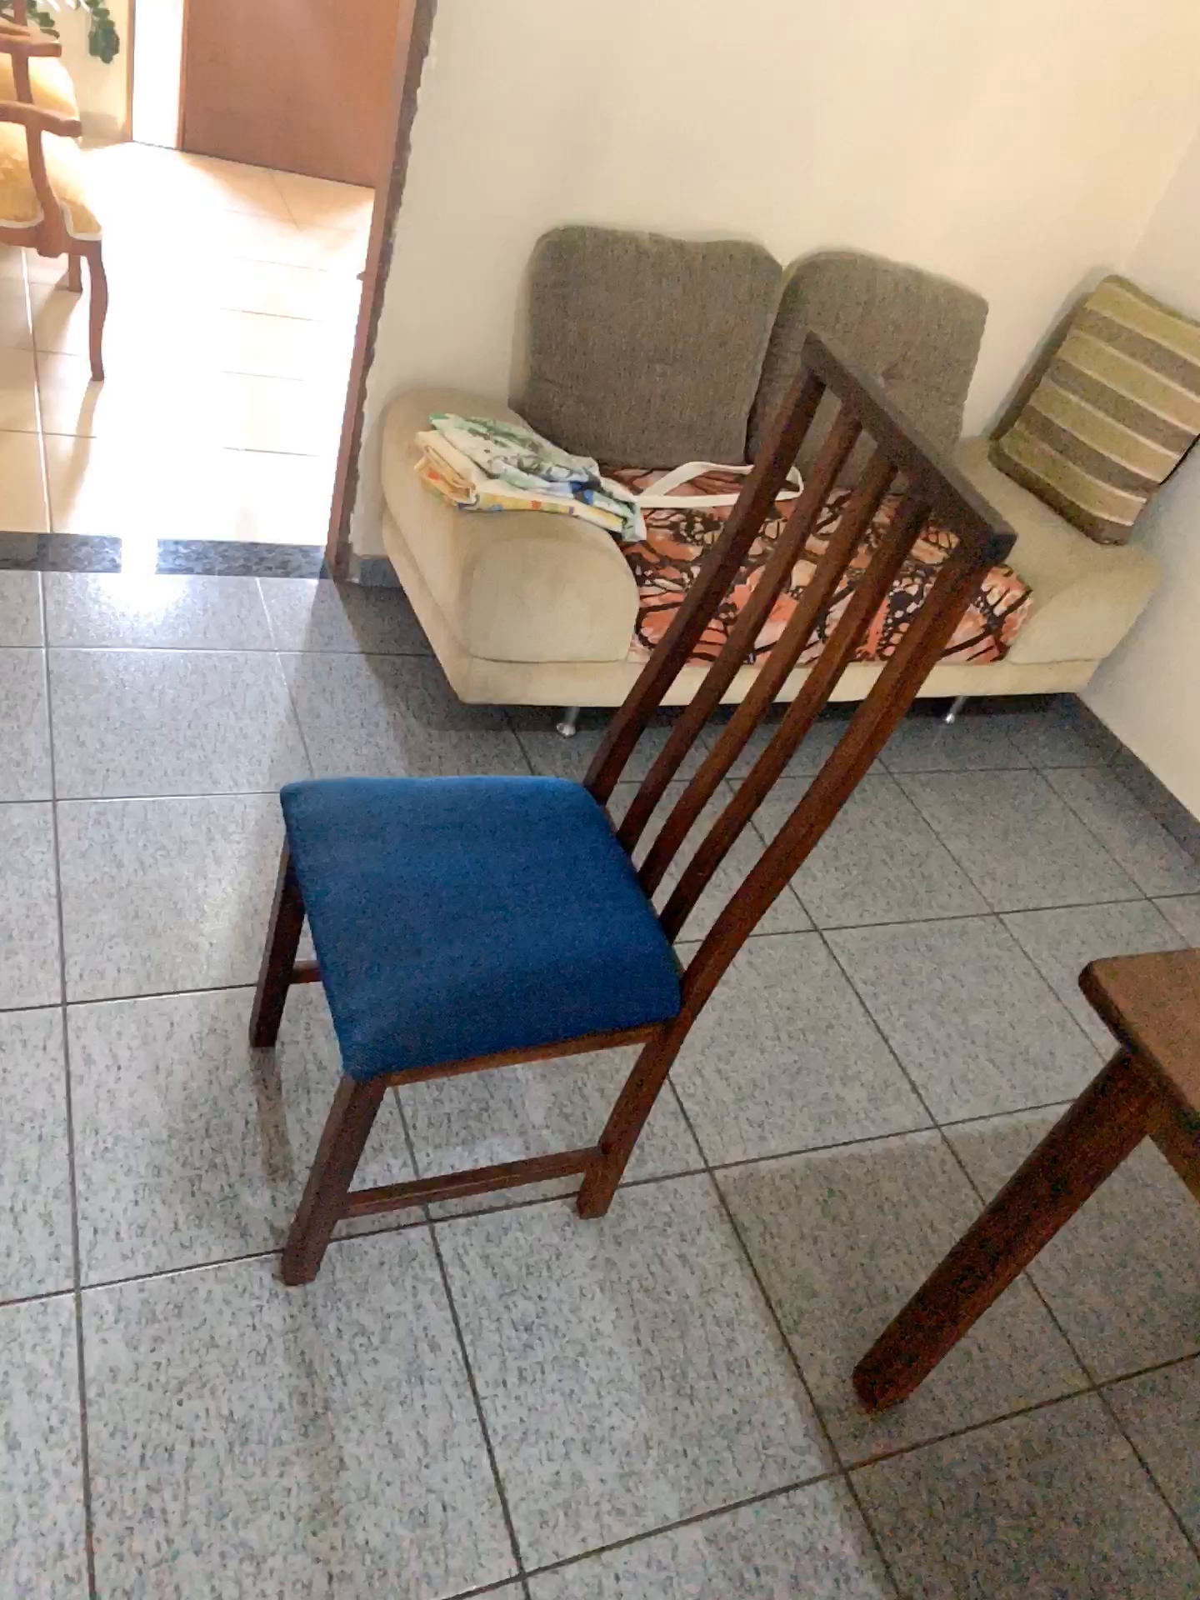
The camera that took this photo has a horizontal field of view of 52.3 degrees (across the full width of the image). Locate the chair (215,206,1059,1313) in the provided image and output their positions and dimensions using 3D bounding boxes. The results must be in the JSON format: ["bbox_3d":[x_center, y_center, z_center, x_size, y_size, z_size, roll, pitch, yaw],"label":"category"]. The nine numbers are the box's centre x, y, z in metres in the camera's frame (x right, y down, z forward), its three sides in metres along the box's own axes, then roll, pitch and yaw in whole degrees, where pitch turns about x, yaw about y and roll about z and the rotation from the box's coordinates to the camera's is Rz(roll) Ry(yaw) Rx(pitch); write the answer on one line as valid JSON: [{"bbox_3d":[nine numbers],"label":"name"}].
[{"bbox_3d":[-0.098,0.046,1.375,0.521,1.123,0.472,-1,45,-24],"label":"chair"}]
